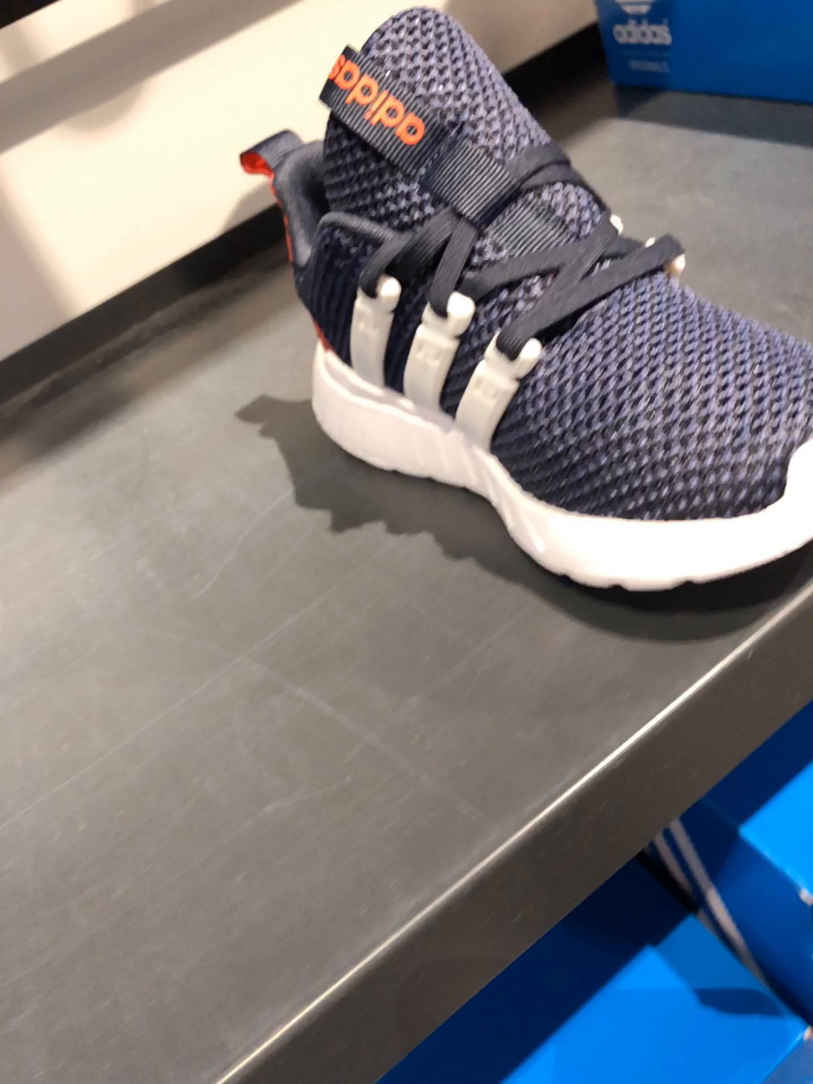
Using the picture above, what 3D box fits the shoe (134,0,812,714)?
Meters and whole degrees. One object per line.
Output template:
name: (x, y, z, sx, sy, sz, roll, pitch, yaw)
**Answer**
shoe: (0.023, -0.068, 0.243, 0.090, 0.110, 0.201, -36, 37, -14)
